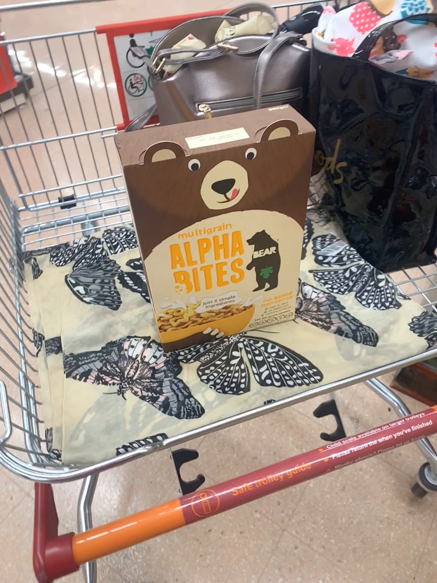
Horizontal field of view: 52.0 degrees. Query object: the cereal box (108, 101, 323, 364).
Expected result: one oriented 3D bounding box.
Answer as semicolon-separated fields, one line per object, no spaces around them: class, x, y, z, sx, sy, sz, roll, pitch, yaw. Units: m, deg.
cereal box;0.000;-0.054;0.545;0.200;0.297;0.071;-13;46;-12
